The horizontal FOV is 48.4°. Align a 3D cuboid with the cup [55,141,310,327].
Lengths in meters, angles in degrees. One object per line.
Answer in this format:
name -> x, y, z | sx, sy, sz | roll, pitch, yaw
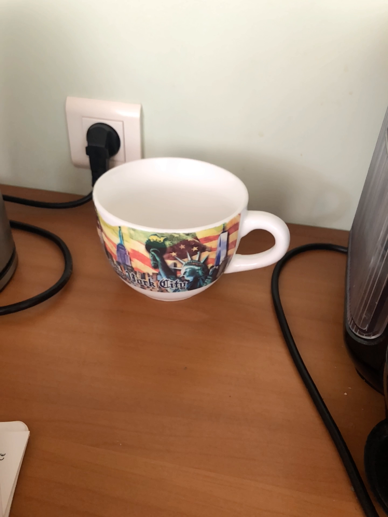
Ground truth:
cup -> -0.002, -0.030, 0.356 | 0.170, 0.070, 0.121 | 12, 37, 12
